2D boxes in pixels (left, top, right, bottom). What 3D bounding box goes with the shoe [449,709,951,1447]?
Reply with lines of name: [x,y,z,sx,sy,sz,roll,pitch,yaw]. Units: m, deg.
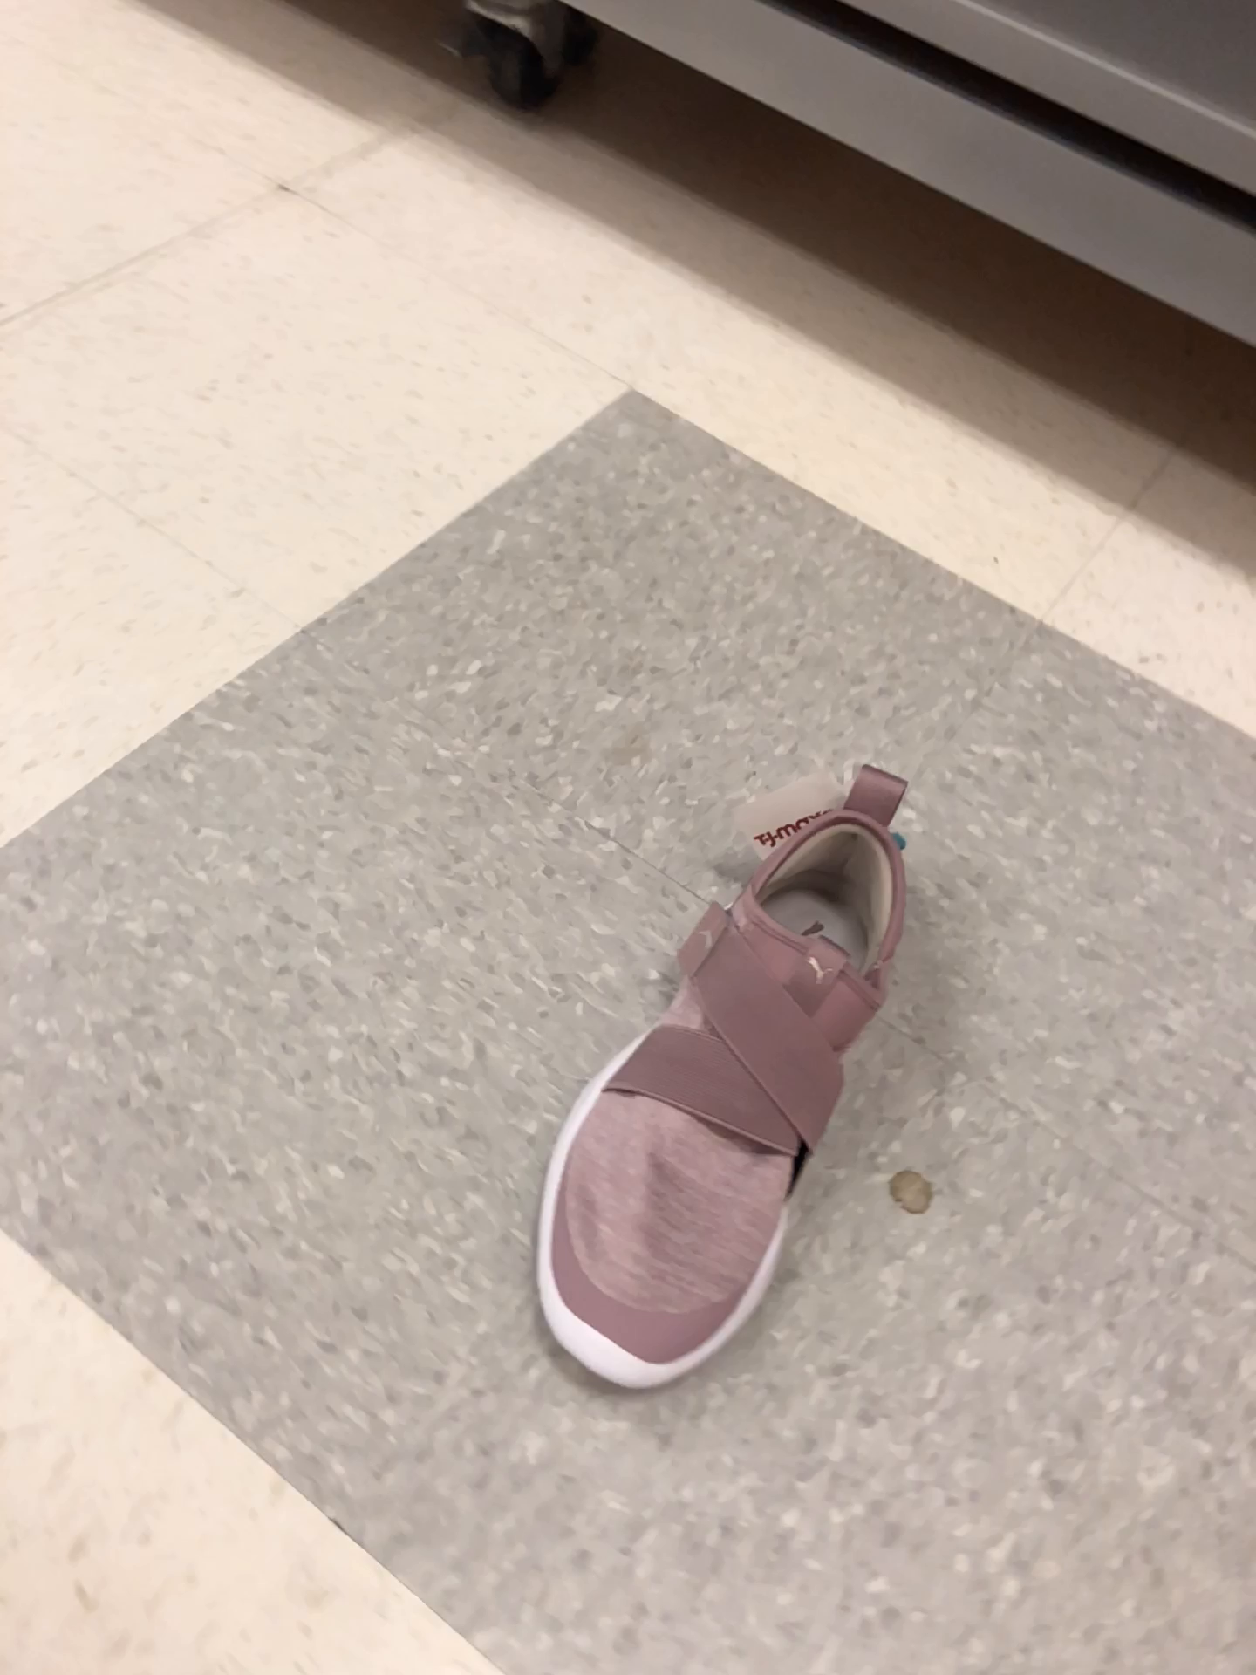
shoe: [0.037,0.086,0.574,0.105,0.093,0.273,23,53,7]
